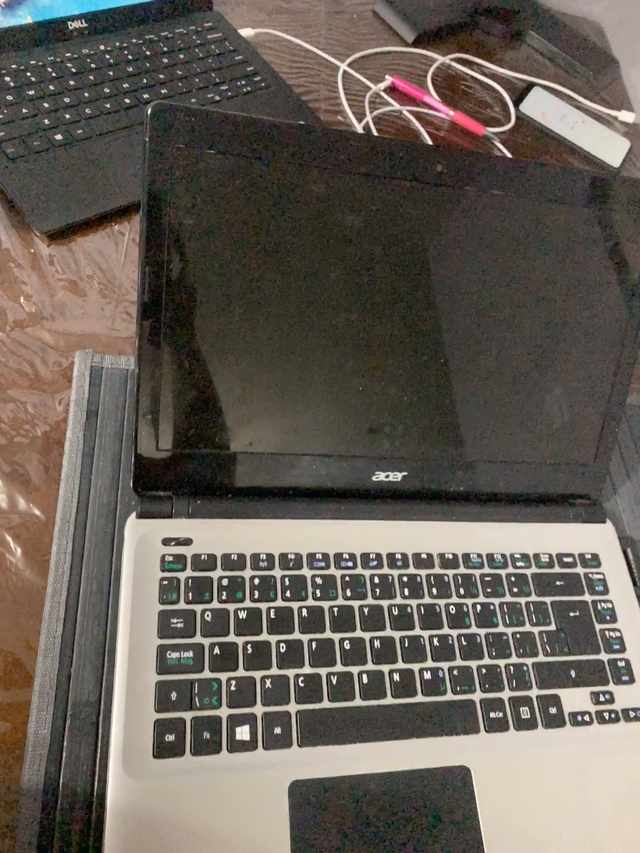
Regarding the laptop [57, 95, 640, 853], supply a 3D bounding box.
[{"bbox_3d":[0.063,0.045,0.345,0.330,0.146,0.386,2,61,-16],"label":"laptop"}]
